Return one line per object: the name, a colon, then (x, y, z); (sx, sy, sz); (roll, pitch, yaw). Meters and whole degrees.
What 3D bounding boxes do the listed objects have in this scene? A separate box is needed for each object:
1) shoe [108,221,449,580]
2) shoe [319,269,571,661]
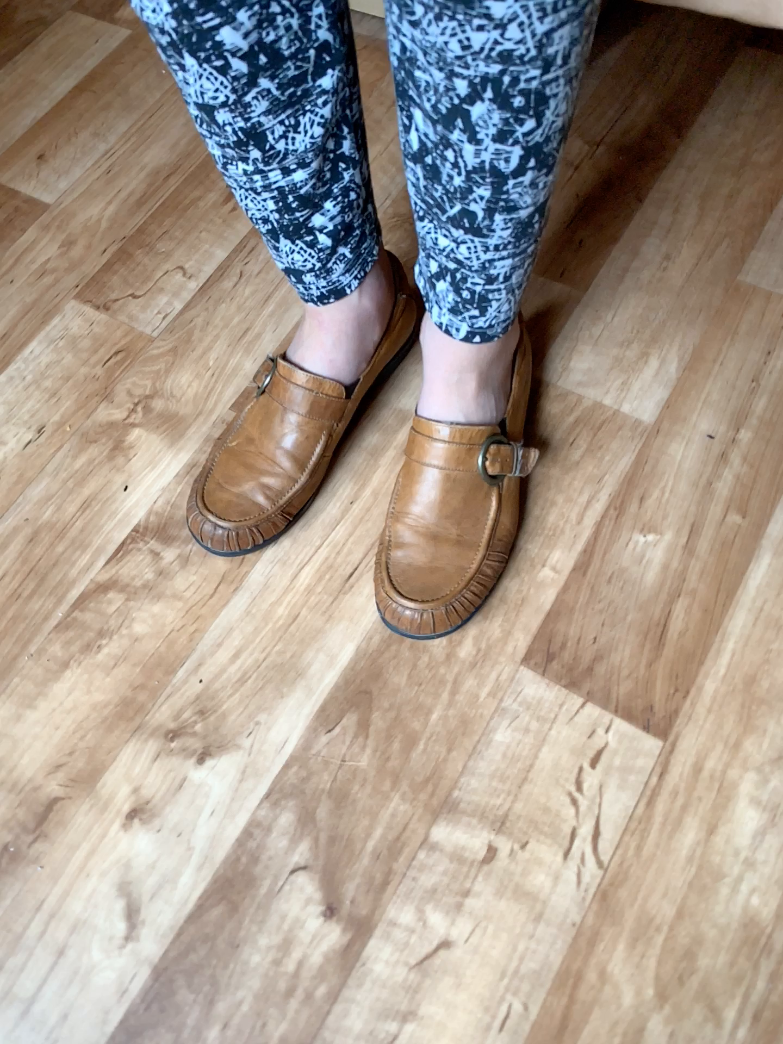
shoe: (-0.056, -0.073, 0.462); (0.080, 0.070, 0.190); (32, 71, 21)
shoe: (0.035, -0.035, 0.427); (0.080, 0.070, 0.190); (12, 65, 13)
